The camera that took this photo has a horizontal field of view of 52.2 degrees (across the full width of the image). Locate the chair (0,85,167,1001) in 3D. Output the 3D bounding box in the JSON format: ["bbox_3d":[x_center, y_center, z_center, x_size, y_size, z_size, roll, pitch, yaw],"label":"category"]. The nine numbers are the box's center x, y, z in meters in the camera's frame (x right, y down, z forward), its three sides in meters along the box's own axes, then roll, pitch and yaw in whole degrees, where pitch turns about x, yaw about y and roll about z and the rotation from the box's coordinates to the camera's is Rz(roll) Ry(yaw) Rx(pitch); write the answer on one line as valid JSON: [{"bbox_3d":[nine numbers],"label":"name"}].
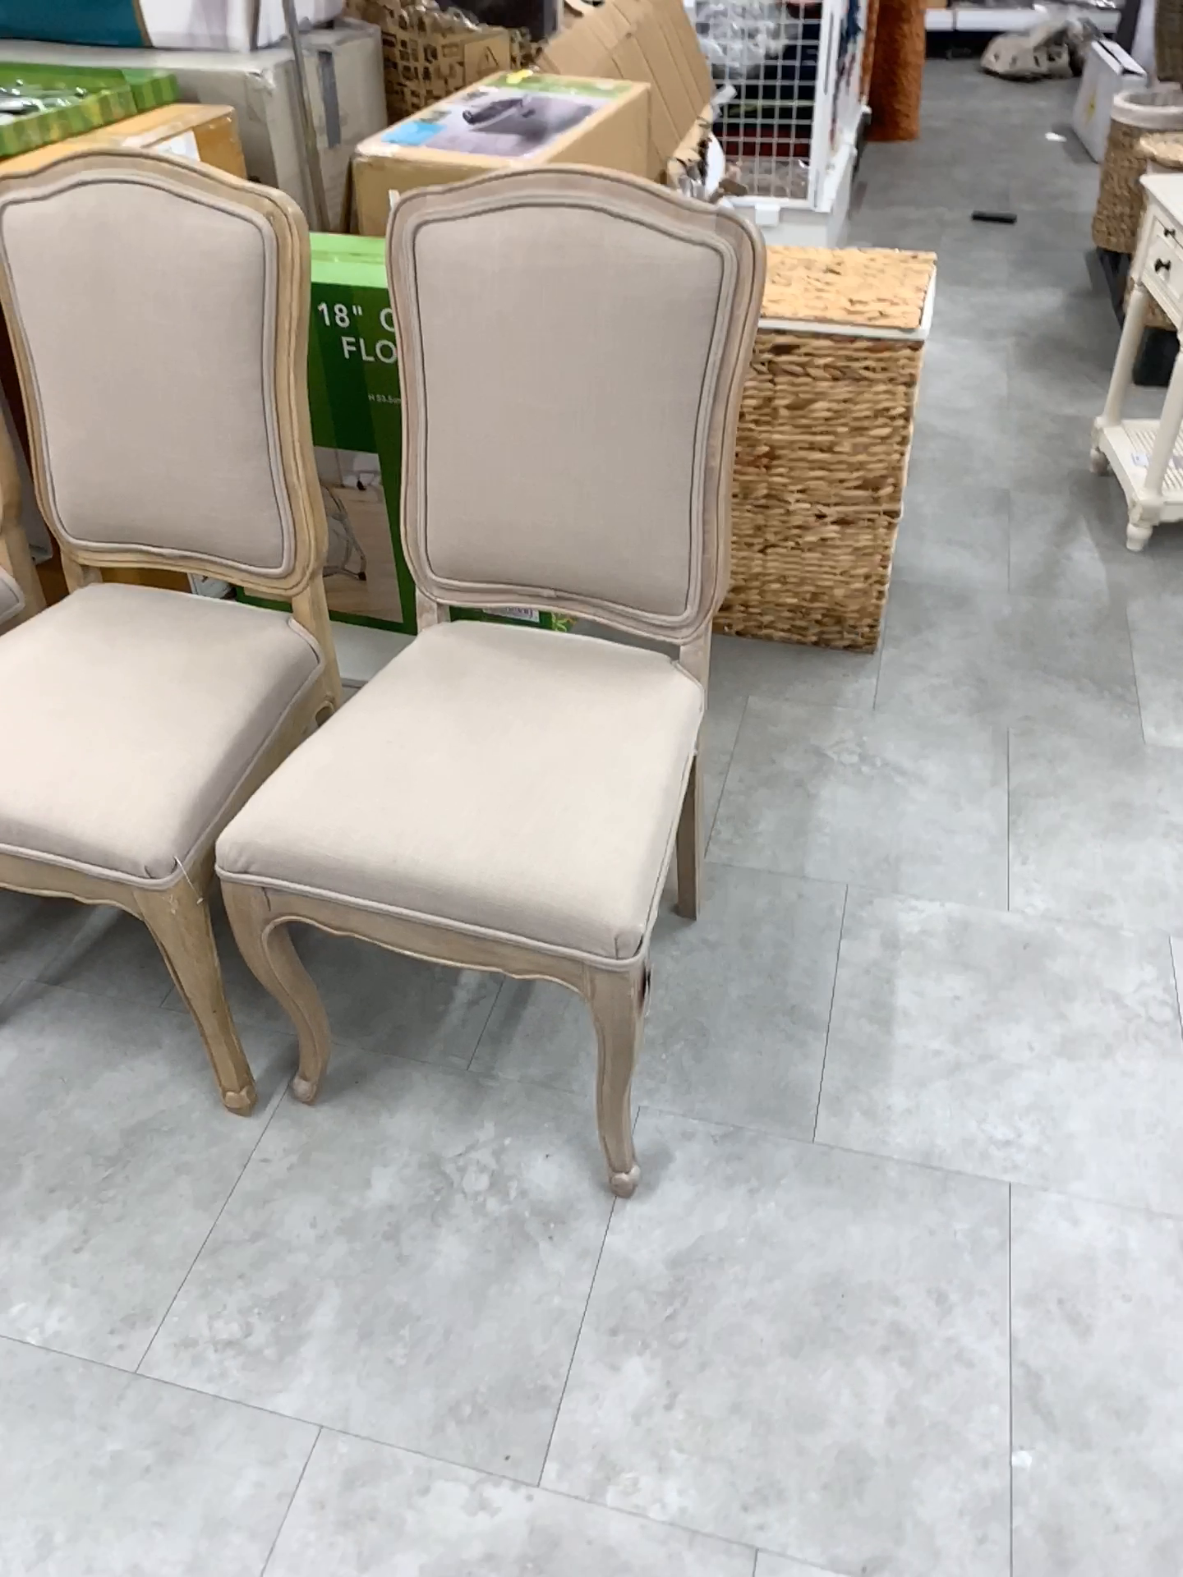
[{"bbox_3d":[-1.063,-0.307,1.579,0.507,0.973,0.550,11,42,17],"label":"chair"}]

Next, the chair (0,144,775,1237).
[{"bbox_3d":[-0.121,-0.083,1.294,0.507,0.973,0.550,8,41,14],"label":"chair"}]

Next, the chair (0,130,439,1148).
[{"bbox_3d":[-0.590,-0.159,1.414,0.507,0.973,0.550,11,42,17],"label":"chair"}]
